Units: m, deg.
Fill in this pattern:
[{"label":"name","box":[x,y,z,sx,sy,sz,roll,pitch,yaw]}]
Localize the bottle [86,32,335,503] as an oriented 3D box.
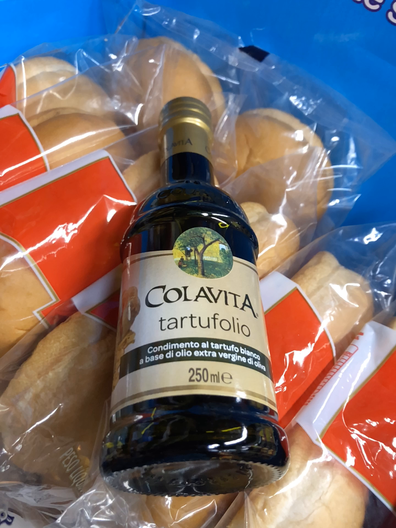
[{"label":"bottle","box":[-0.004,-0.013,0.204,0.070,0.060,0.211,4,57,-10]}]
